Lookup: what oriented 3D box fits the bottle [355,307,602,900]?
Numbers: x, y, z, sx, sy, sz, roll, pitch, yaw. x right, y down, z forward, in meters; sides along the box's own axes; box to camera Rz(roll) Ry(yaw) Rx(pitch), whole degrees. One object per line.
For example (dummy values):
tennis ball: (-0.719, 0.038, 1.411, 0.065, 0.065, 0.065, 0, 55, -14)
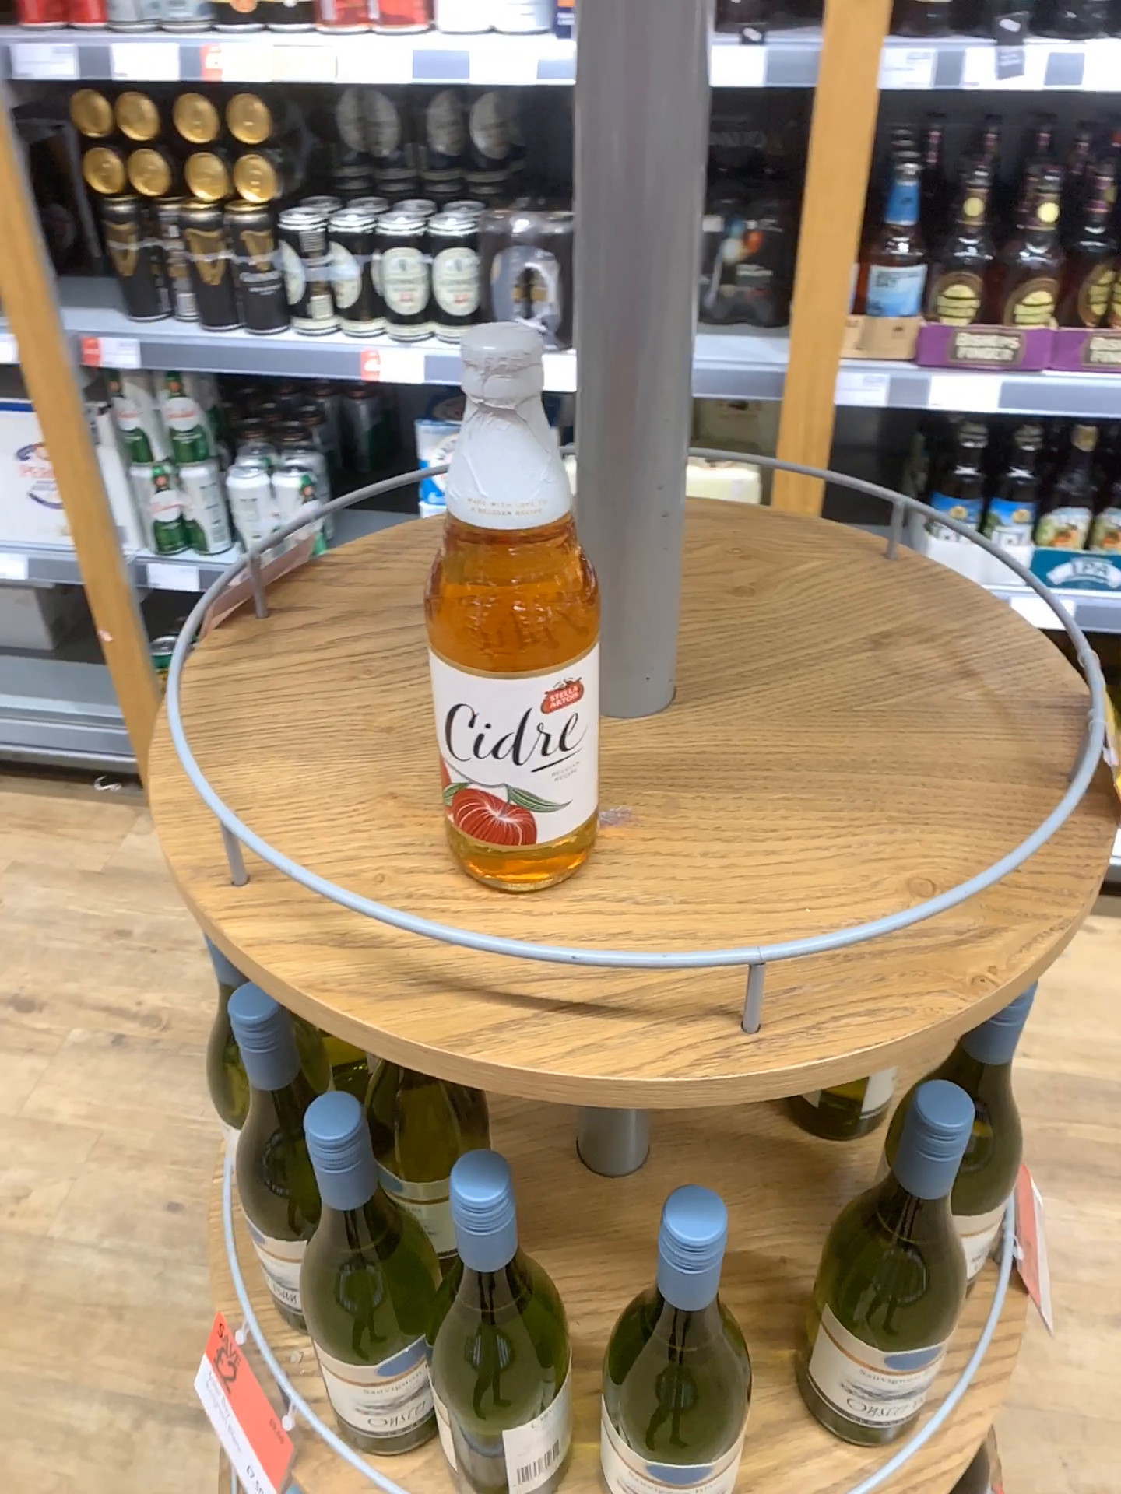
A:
bottle: (-0.023, -0.047, 0.445, 0.069, 0.218, 0.071, -1, 37, 0)
